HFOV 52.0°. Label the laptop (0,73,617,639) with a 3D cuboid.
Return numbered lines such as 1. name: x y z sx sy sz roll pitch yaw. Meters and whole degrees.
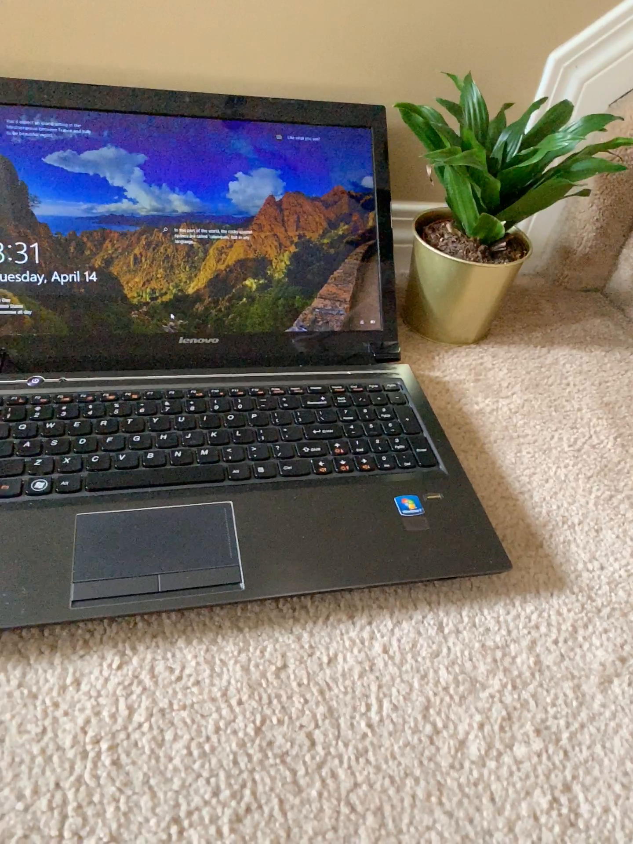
1. laptop: -0.084 -0.092 0.483 0.372 0.167 0.412 -3 43 -15
